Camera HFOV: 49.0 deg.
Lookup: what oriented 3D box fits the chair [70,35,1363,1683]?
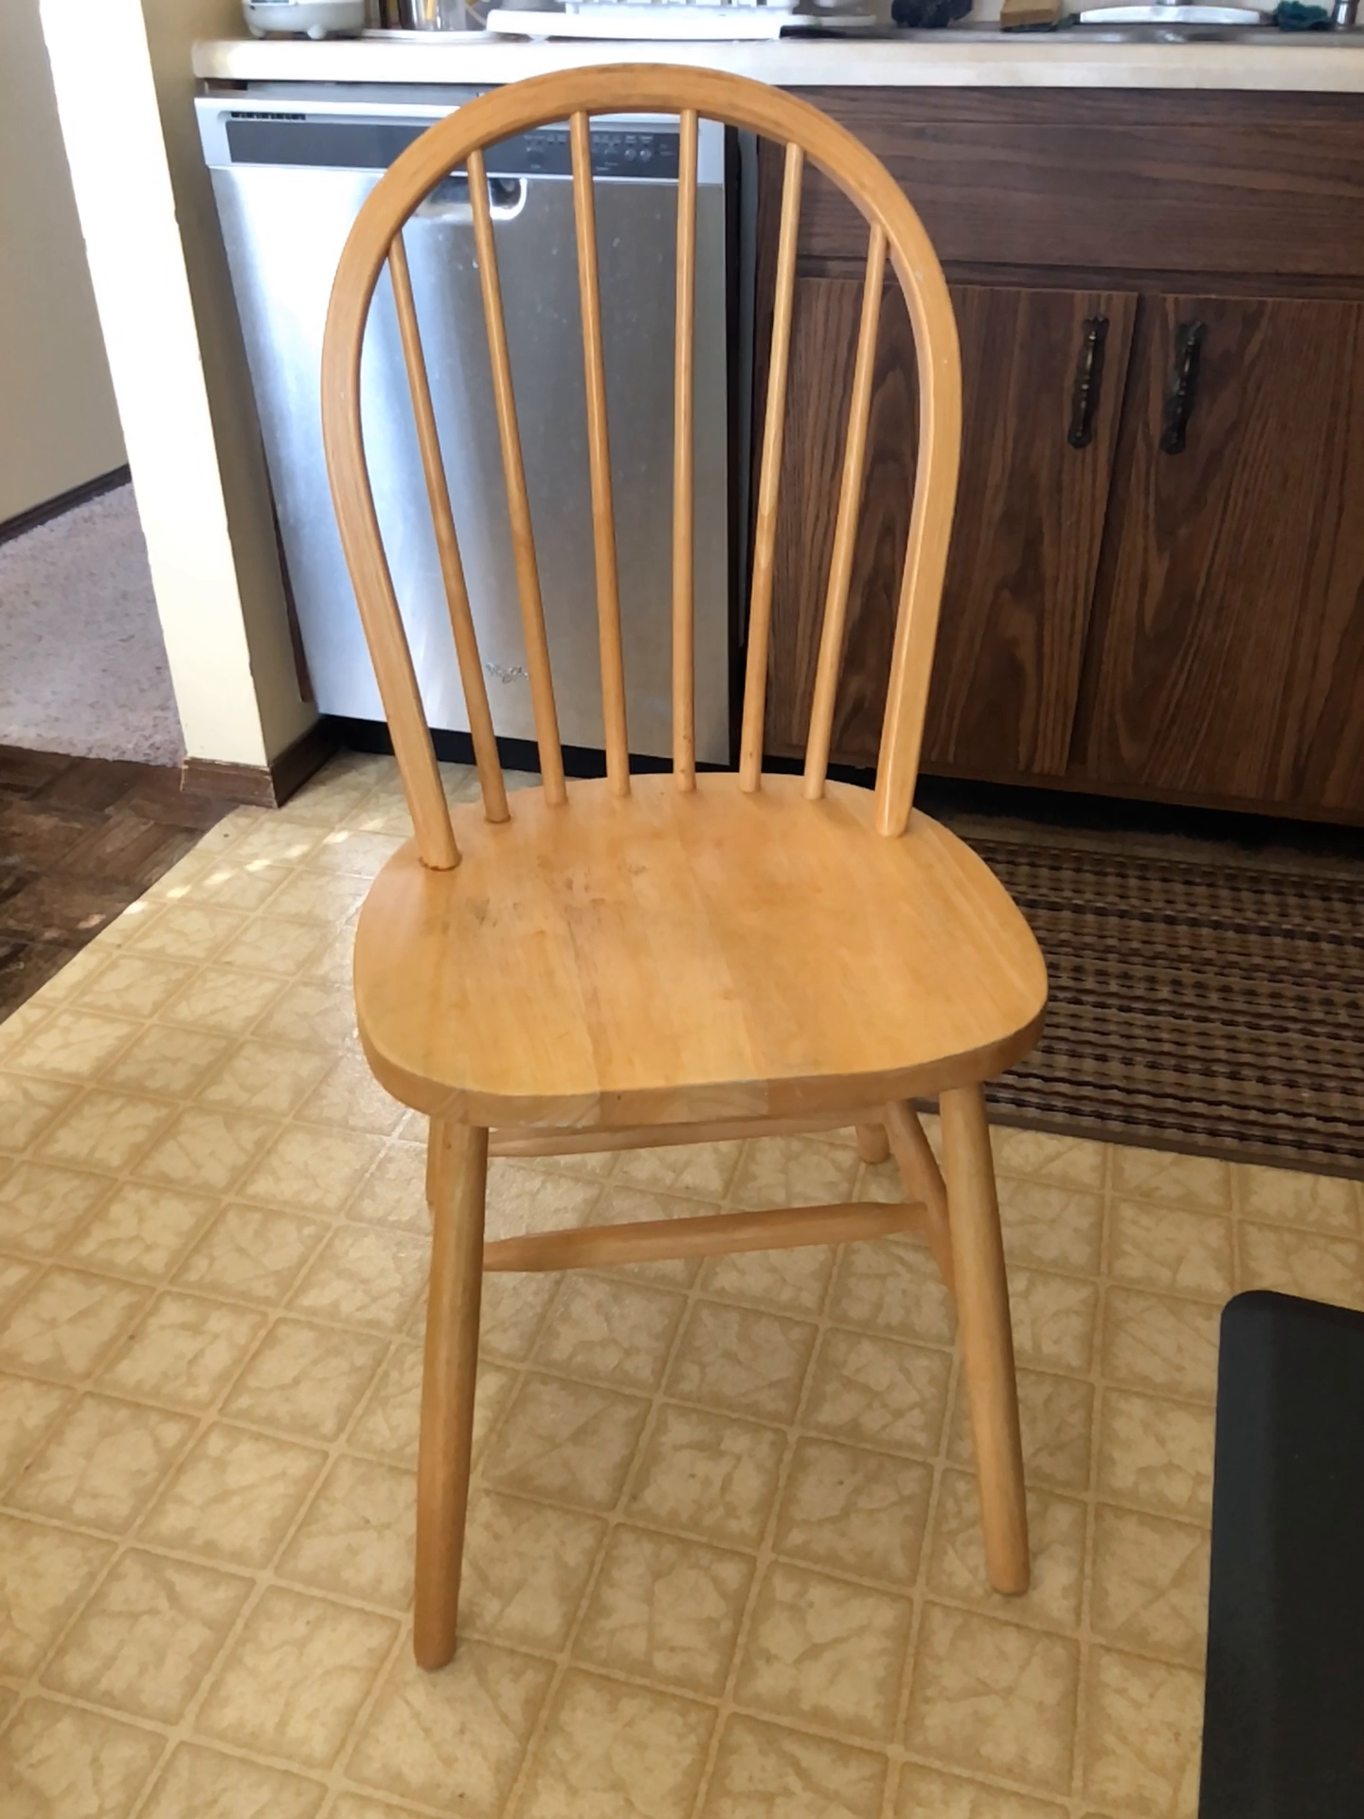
[{"bbox_3d":[-0.010,-0.050,0.991,0.460,0.897,0.562,-4,32,-7],"label":"chair"}]
